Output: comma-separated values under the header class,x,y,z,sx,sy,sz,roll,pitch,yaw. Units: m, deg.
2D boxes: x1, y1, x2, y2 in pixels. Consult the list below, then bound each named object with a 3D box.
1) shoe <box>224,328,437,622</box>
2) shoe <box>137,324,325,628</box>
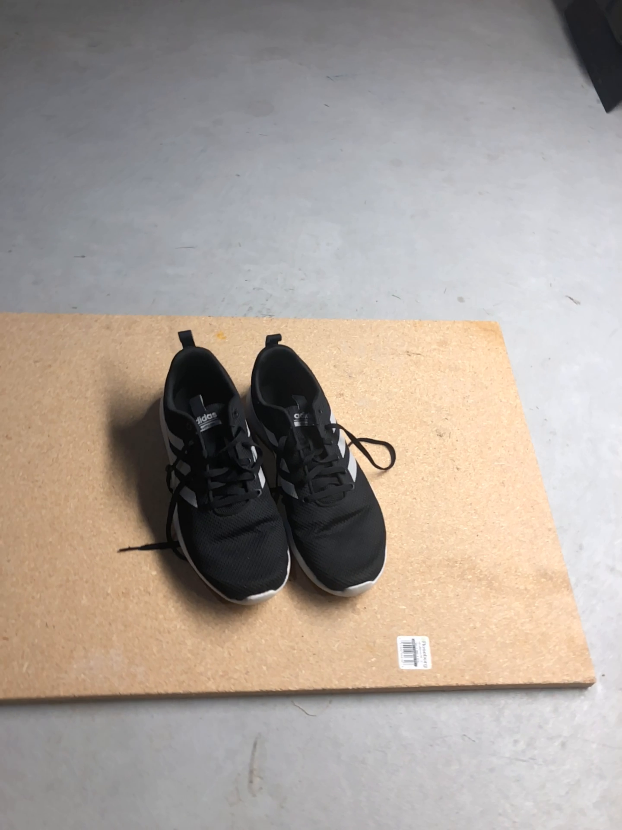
class,x,y,z,sx,sy,sz,roll,pitch,yaw
shoe,0.007,0.051,0.742,0.110,0.090,0.300,-11,56,-21
shoe,-0.097,0.050,0.718,0.110,0.090,0.300,-10,55,-20
